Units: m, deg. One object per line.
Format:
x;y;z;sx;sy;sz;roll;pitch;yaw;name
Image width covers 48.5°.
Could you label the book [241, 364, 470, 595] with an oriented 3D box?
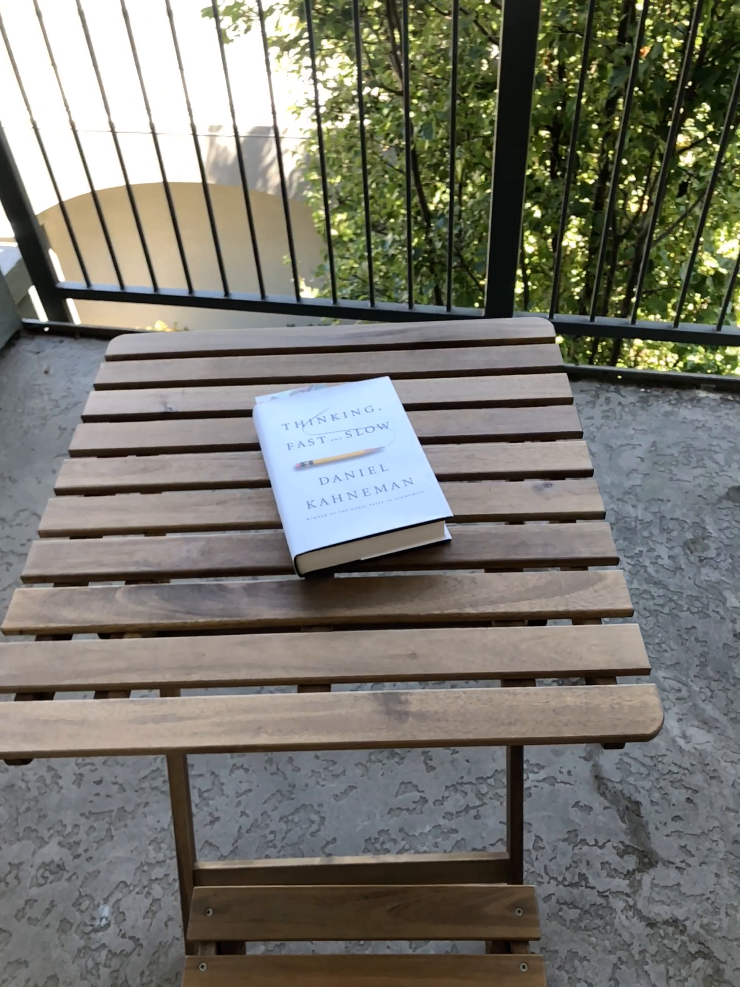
-0.023;-0.025;0.866;0.180;0.060;0.241;-13;46;-9;book
